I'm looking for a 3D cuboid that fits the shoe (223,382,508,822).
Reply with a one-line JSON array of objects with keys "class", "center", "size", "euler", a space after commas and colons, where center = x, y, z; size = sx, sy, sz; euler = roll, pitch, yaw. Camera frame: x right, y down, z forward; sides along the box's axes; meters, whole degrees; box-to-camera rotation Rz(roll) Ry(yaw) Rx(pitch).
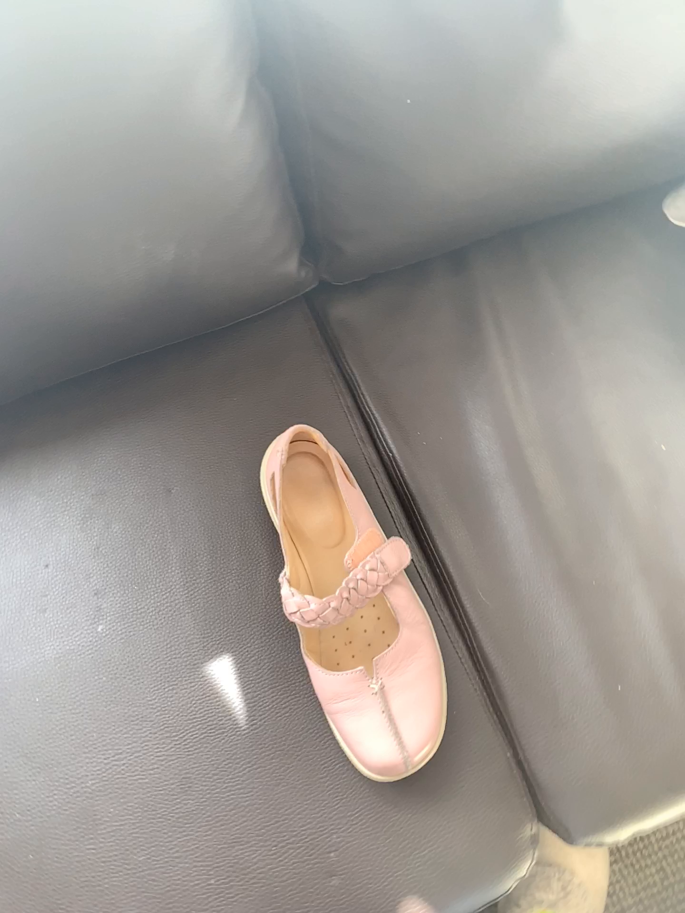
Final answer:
[{"class": "shoe", "center": [0.007, 0.095, 0.498], "size": [0.104, 0.100, 0.261], "euler": [-17, 72, -7]}]
